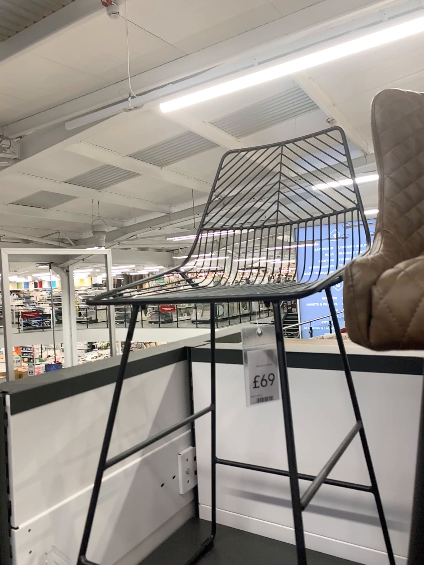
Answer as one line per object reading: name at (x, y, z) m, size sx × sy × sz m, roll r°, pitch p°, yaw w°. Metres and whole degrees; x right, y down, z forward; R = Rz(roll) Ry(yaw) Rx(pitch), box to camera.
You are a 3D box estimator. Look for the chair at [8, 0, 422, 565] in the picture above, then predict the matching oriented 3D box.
chair at (0.046, 0.137, 0.784) m, size 0.504 × 0.964 × 0.529 m, roll -4°, pitch -2°, yaw 31°
